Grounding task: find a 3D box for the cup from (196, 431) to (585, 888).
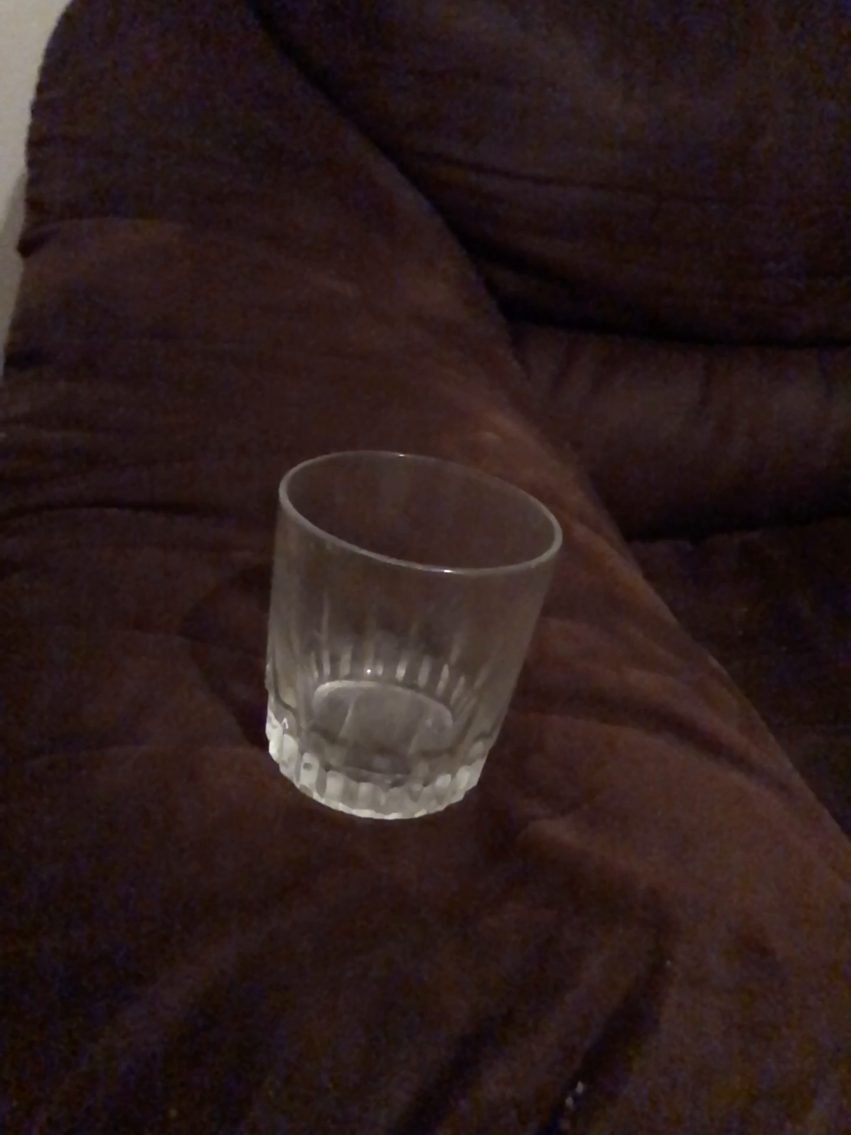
[{"bbox_3d":[-0.007,0.021,0.275,0.086,0.086,0.087,8,23,-4],"label":"cup"}]
